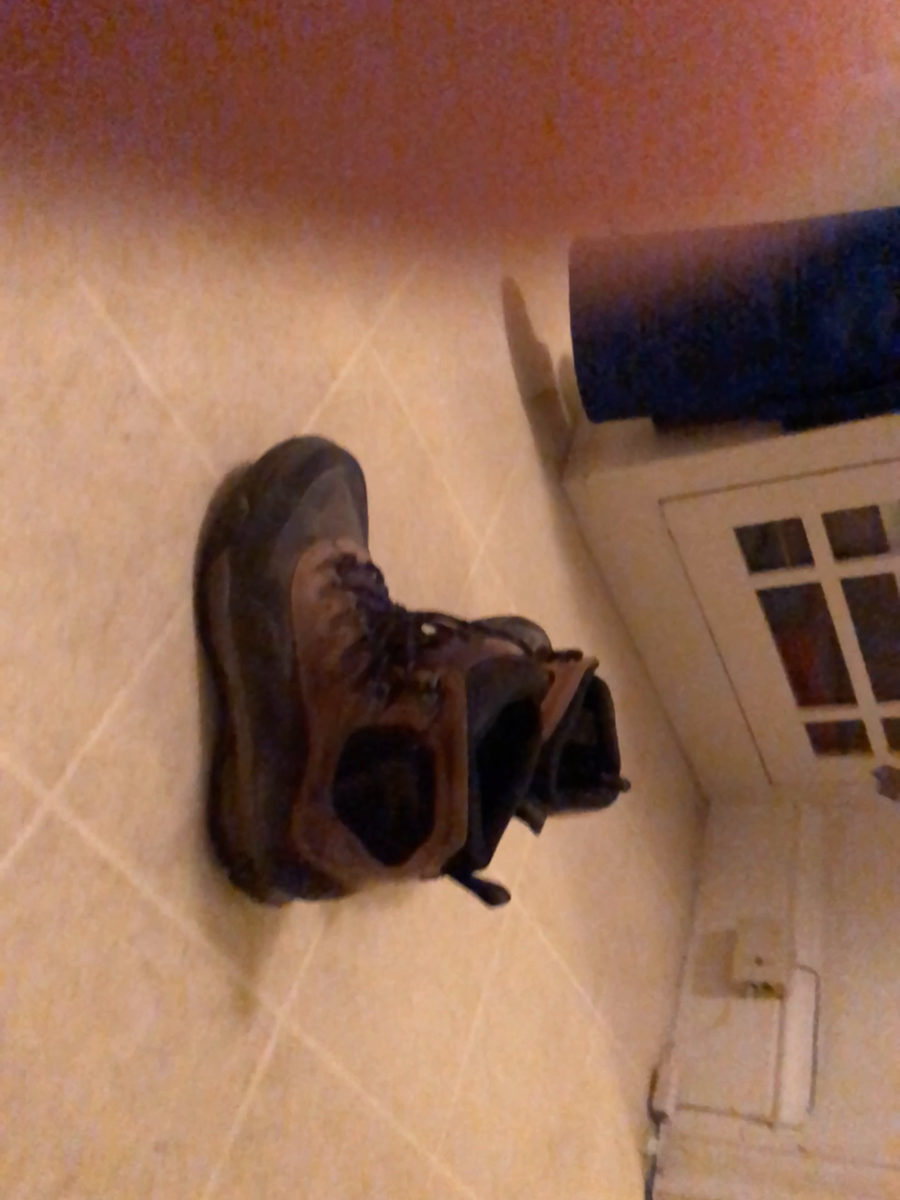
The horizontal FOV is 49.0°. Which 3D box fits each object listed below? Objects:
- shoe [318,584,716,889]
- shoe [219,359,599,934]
[{"bbox_3d":[0.070,0.092,0.761,0.294,0.185,0.113,-32,111,-58],"label":"shoe"},{"bbox_3d":[-0.026,0.036,0.607,0.122,0.185,0.299,17,69,-58],"label":"shoe"}]
